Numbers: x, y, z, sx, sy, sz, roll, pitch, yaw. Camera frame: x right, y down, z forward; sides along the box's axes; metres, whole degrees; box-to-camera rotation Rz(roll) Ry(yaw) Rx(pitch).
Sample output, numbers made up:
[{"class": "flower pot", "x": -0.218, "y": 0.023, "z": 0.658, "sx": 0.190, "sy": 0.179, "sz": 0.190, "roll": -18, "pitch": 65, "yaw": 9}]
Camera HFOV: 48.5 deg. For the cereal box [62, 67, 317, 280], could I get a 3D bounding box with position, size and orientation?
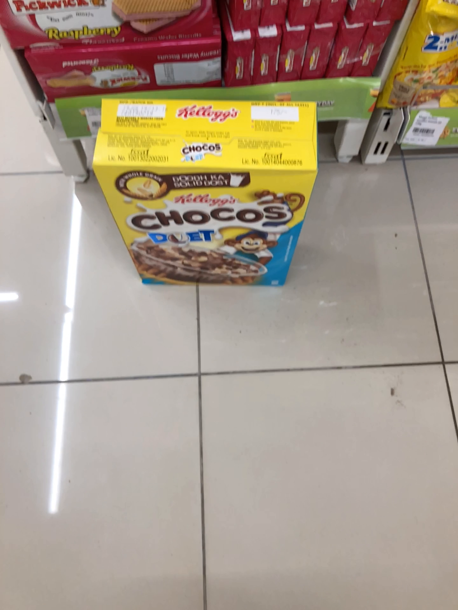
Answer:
[{"class": "cereal box", "x": -0.029, "y": -0.109, "z": 0.512, "sx": 0.190, "sy": 0.259, "sz": 0.070, "roll": 1, "pitch": 70, "yaw": 0}]
